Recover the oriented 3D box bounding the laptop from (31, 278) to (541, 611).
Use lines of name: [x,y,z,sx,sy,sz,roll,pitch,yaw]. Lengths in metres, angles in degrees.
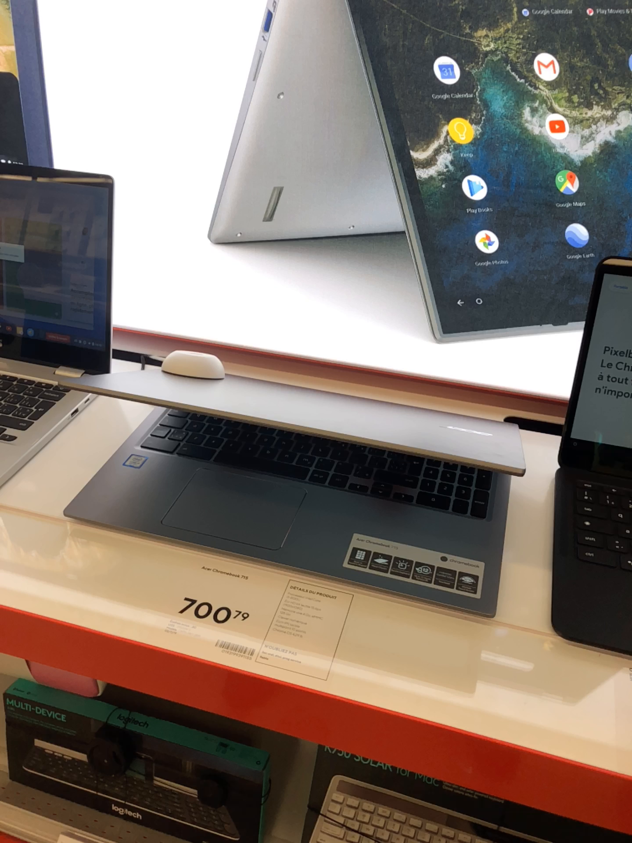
laptop: [-0.004,-0.004,0.619,0.368,0.109,0.244,10,36,11]
